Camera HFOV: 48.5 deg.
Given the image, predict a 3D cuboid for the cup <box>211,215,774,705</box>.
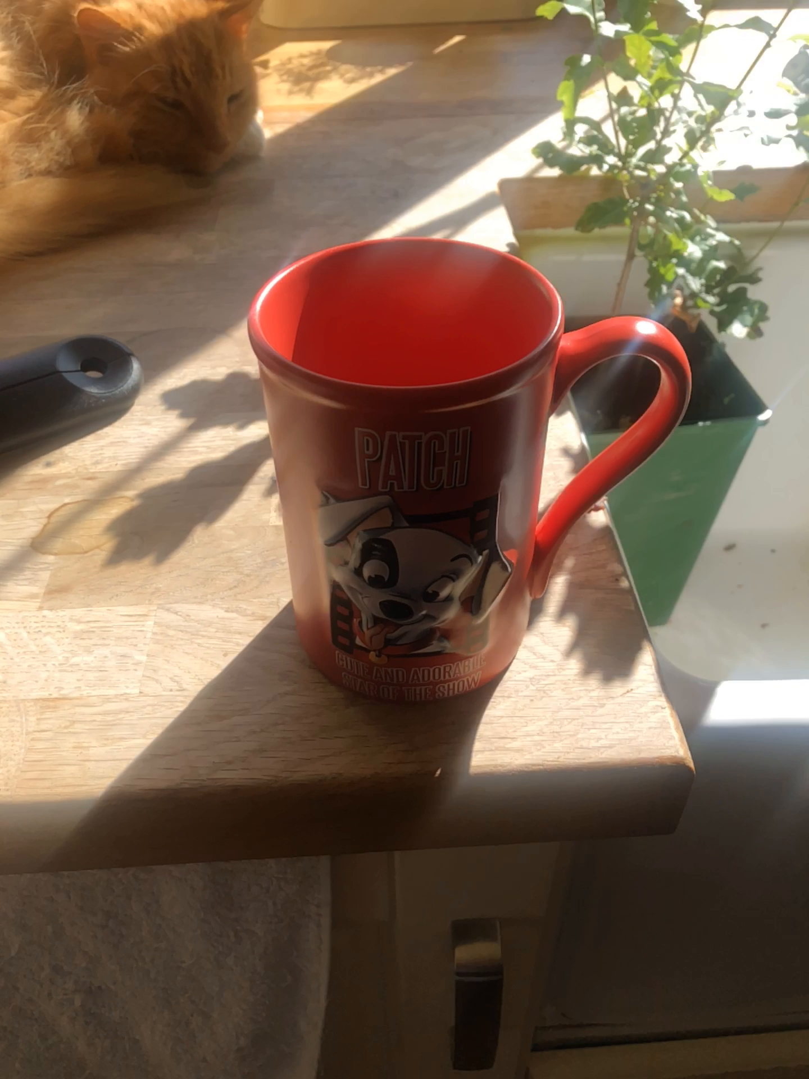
[{"bbox_3d":[0.020,-0.025,0.283,0.131,0.119,0.095,-1,40,-1],"label":"cup"}]
